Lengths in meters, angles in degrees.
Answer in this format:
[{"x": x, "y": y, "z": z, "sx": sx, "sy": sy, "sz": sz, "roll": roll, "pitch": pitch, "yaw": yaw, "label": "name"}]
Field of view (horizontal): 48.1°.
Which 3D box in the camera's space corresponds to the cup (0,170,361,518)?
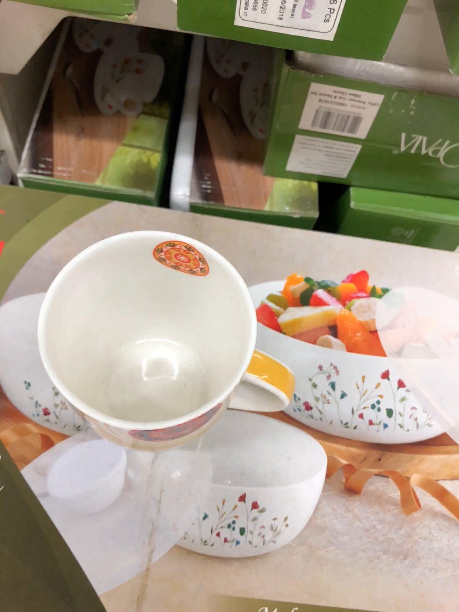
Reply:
[{"x": -0.024, "y": 0.022, "z": 0.219, "sx": 0.120, "sy": 0.090, "sz": 0.090, "roll": 17, "pitch": 63, "yaw": 1, "label": "cup"}]
